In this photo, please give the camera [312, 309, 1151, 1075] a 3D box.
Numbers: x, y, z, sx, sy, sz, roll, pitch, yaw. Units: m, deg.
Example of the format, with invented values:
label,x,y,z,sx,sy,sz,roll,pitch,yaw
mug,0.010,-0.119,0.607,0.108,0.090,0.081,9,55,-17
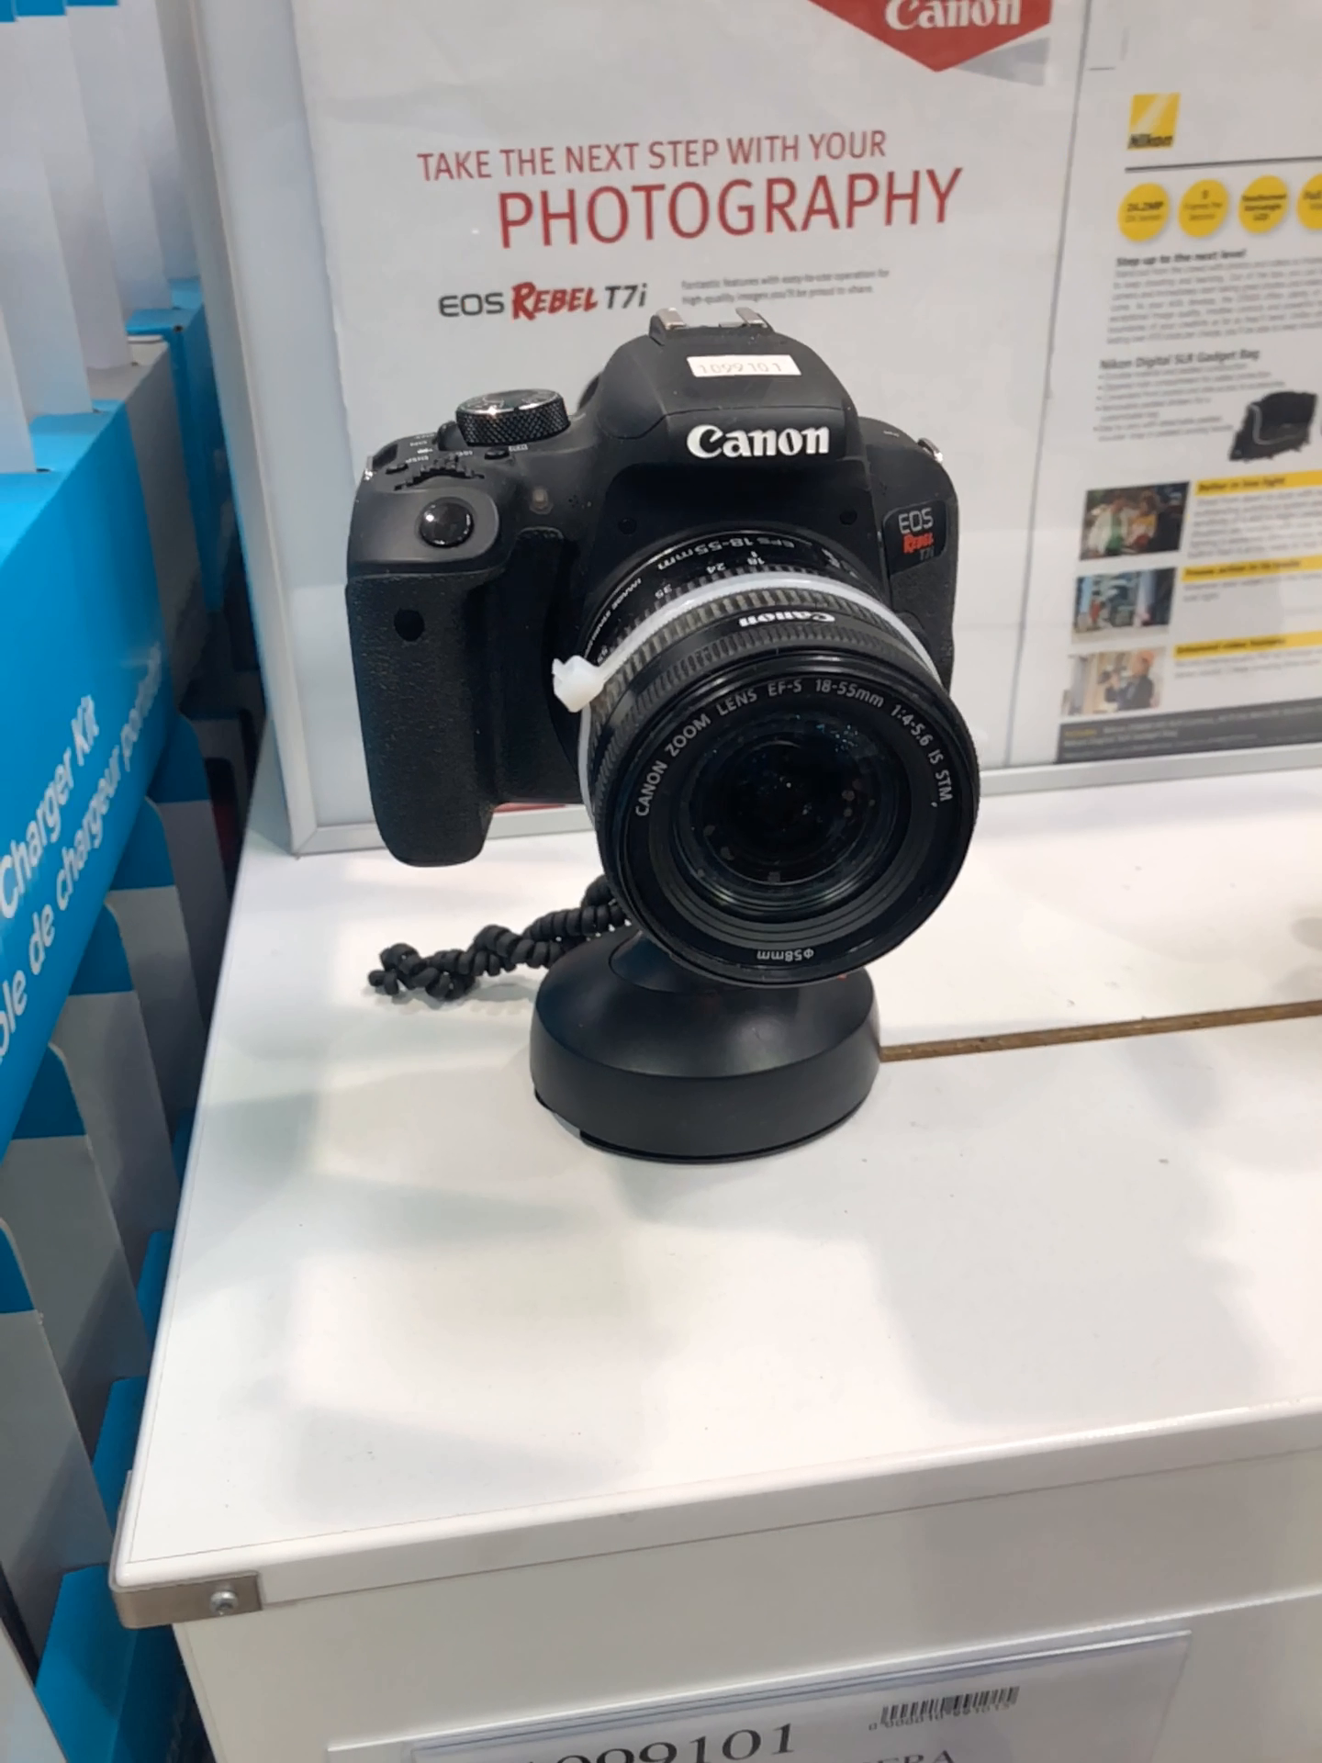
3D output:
label,x,y,z,sx,sy,sz,roll,pitch,yaw
camera,0.001,-0.052,0.312,0.130,0.100,0.151,-6,32,-8
